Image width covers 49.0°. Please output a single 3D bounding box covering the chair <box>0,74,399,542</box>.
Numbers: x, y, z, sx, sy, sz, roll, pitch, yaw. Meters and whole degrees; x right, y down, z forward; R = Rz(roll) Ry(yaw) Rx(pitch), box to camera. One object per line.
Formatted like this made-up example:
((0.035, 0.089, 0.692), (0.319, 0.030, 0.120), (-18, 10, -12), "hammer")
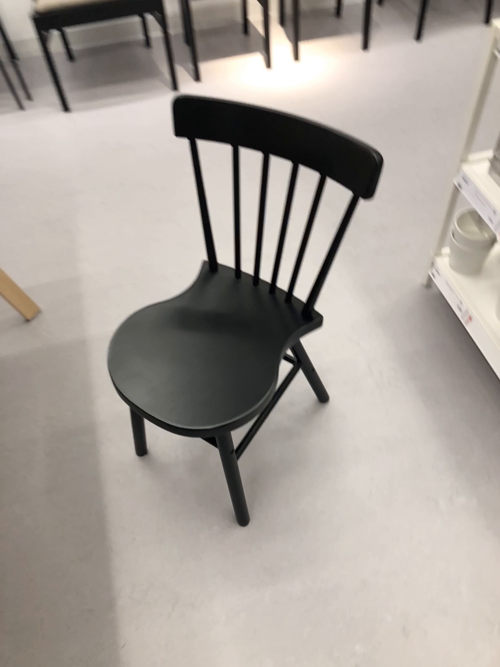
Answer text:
((-0.076, -0.028, 1.168), (0.481, 0.715, 0.522), (27, 59, 23), "chair")
